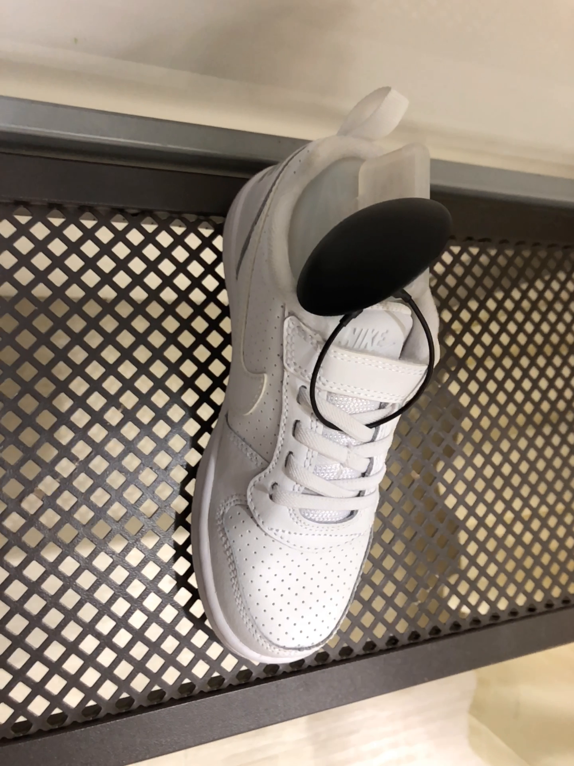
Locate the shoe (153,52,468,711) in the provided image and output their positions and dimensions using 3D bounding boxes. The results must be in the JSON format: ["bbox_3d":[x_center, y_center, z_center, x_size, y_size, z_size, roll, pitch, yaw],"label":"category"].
[{"bbox_3d":[0.005,0.002,0.252,0.080,0.100,0.200,6,79,-23],"label":"shoe"}]
